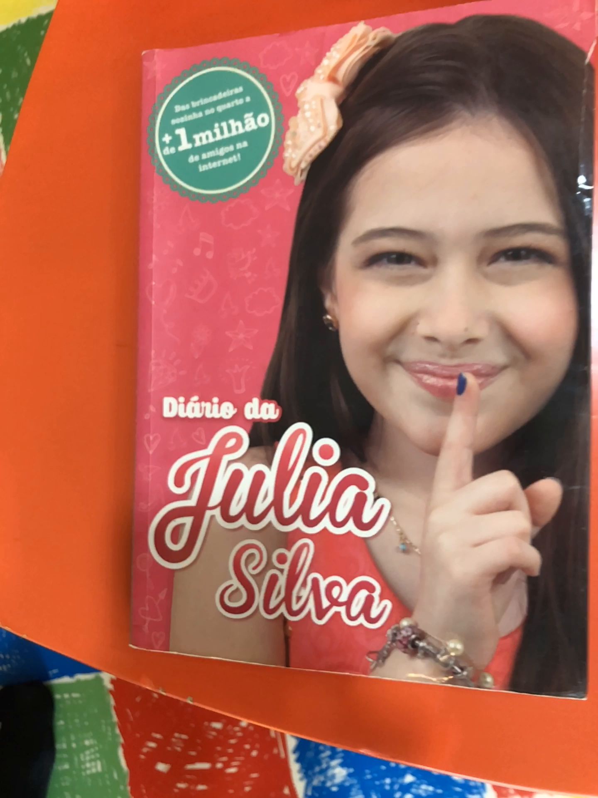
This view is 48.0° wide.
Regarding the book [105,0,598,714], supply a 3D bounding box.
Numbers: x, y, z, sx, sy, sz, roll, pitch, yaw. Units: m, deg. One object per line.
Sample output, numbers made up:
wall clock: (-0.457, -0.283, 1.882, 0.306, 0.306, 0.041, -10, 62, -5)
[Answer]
book: (0.016, -0.021, 0.245, 0.171, 0.020, 0.241, 1, 89, 12)
